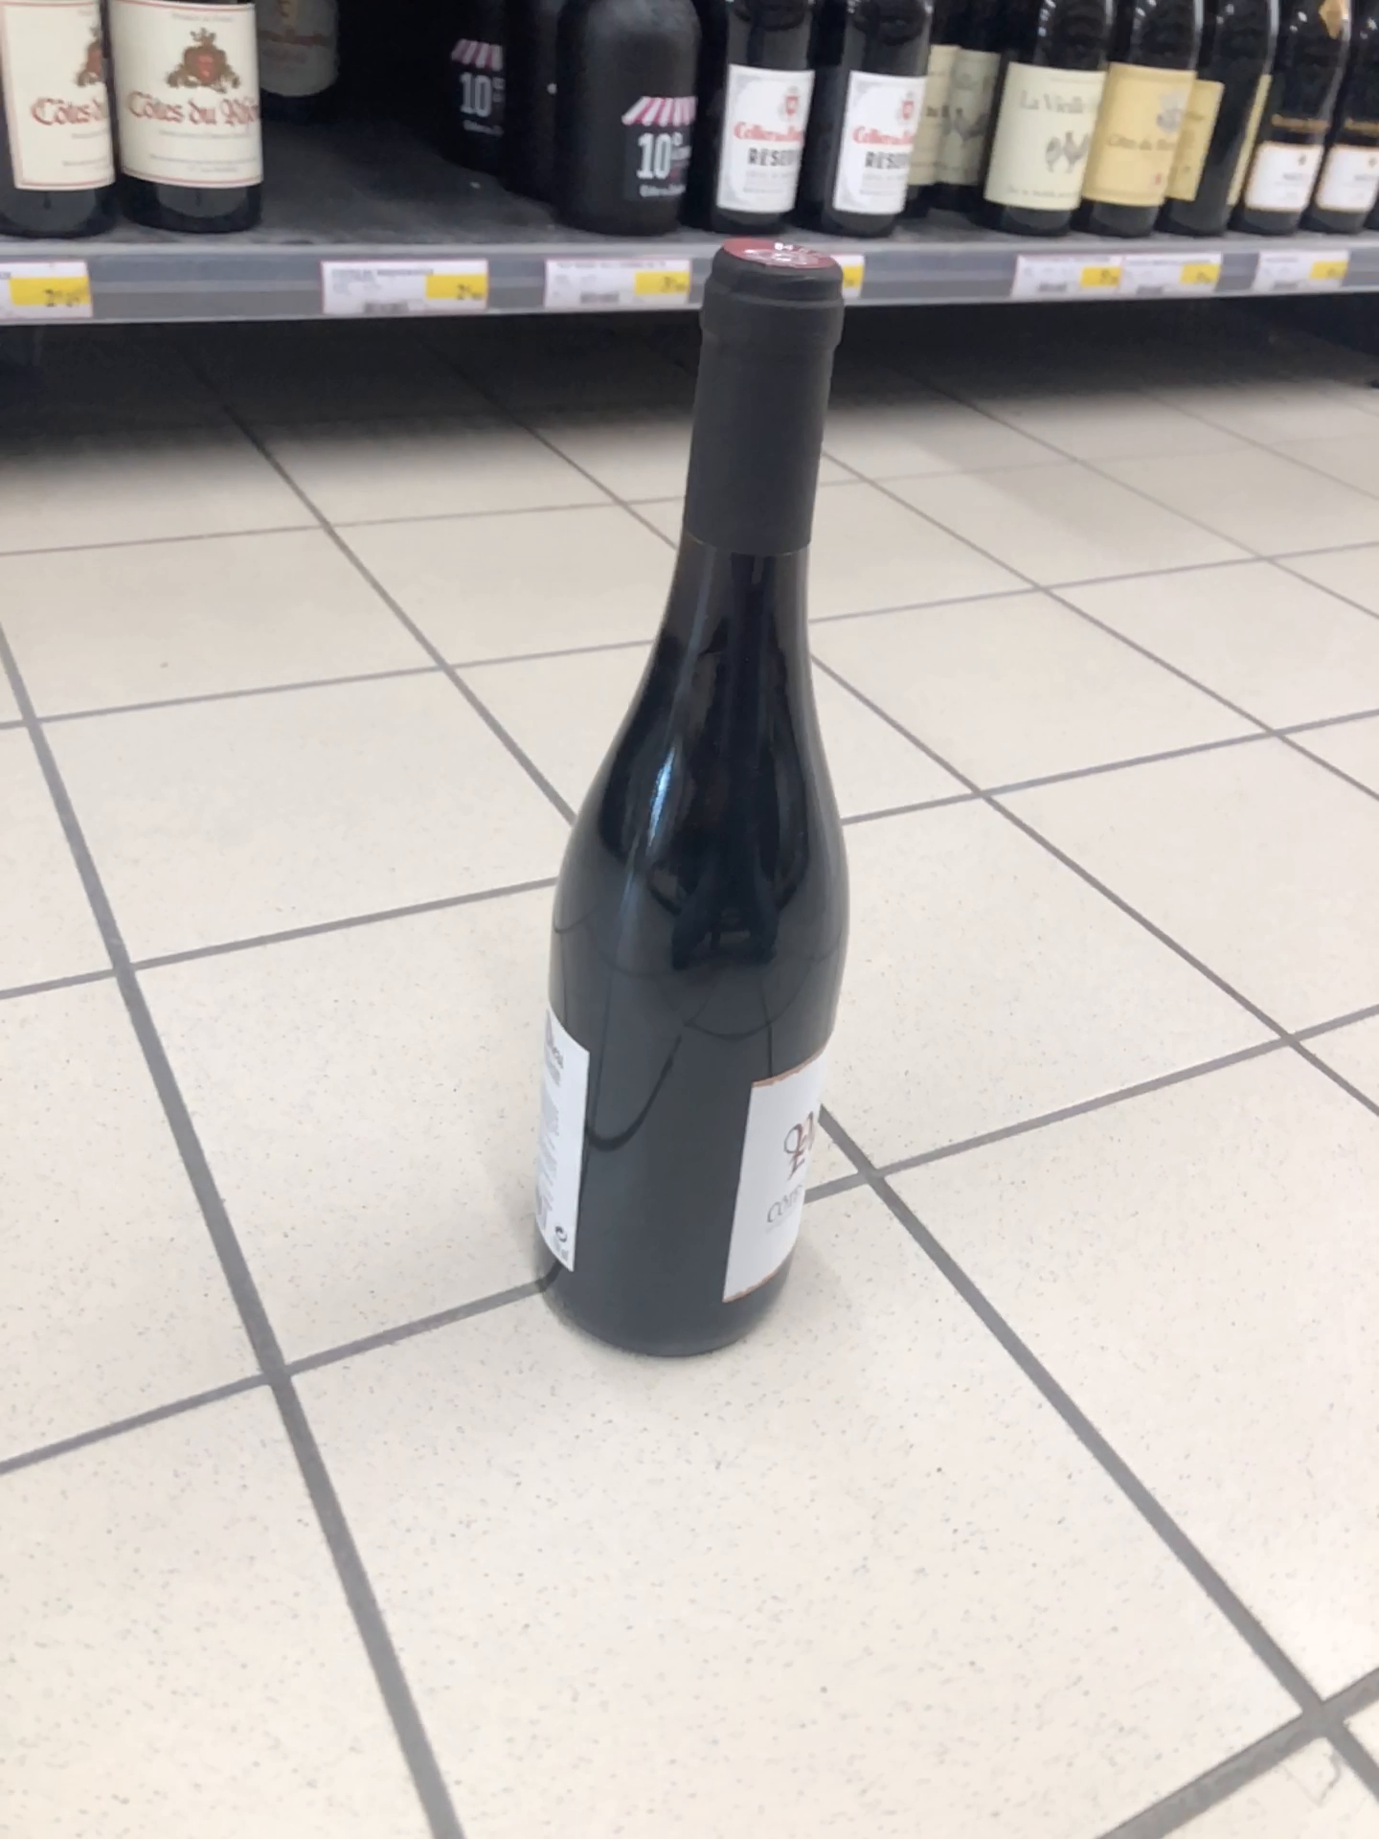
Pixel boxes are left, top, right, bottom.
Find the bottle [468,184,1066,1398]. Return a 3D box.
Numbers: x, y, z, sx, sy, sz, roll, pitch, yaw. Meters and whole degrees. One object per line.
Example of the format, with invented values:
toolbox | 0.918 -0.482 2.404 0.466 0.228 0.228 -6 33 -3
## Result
bottle | 0.003 -0.017 0.389 0.100 0.288 0.101 5 33 -3
